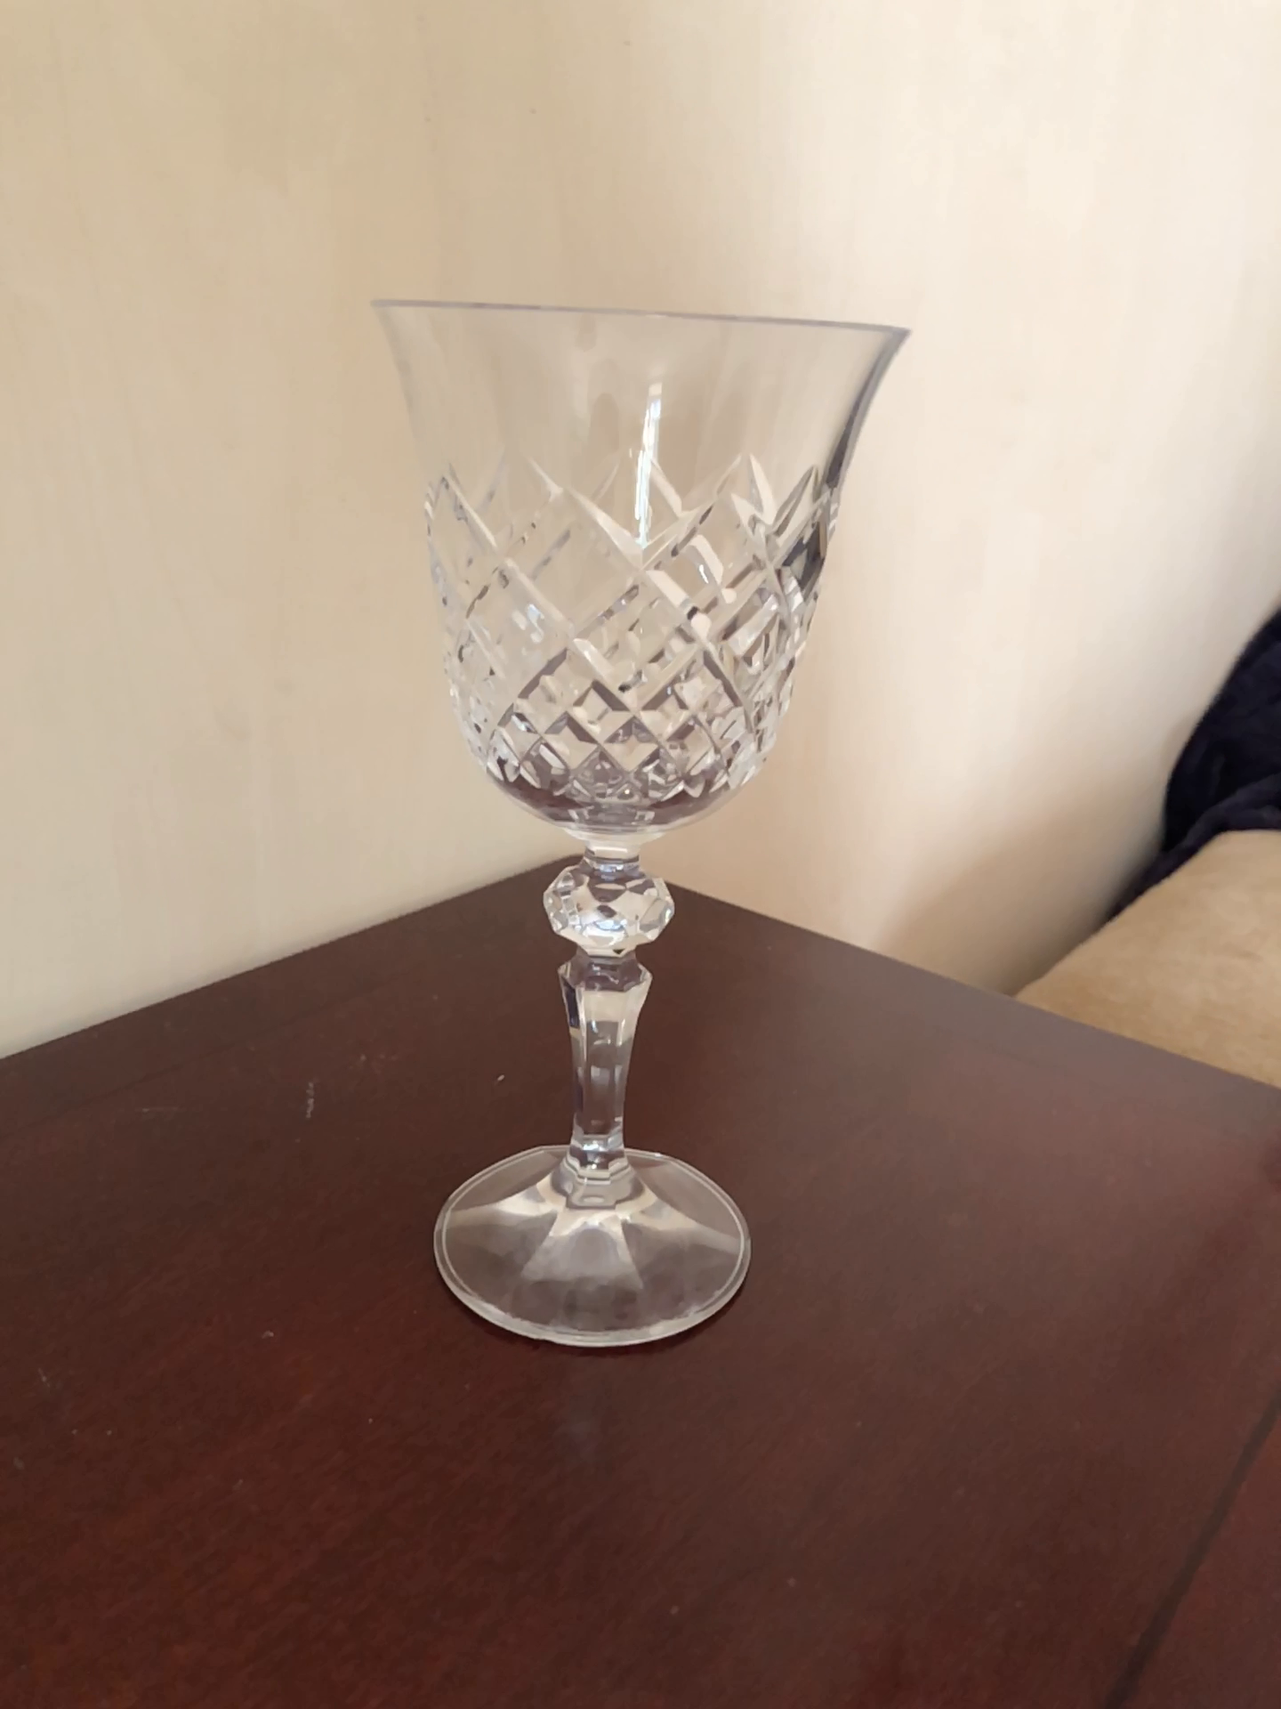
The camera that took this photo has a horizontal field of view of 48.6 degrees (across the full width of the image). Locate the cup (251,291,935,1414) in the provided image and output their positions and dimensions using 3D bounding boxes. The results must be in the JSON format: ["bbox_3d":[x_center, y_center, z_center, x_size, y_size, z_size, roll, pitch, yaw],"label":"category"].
[{"bbox_3d":[-0.004,-0.007,0.260,0.091,0.171,0.092,3,20,-1],"label":"cup"}]
